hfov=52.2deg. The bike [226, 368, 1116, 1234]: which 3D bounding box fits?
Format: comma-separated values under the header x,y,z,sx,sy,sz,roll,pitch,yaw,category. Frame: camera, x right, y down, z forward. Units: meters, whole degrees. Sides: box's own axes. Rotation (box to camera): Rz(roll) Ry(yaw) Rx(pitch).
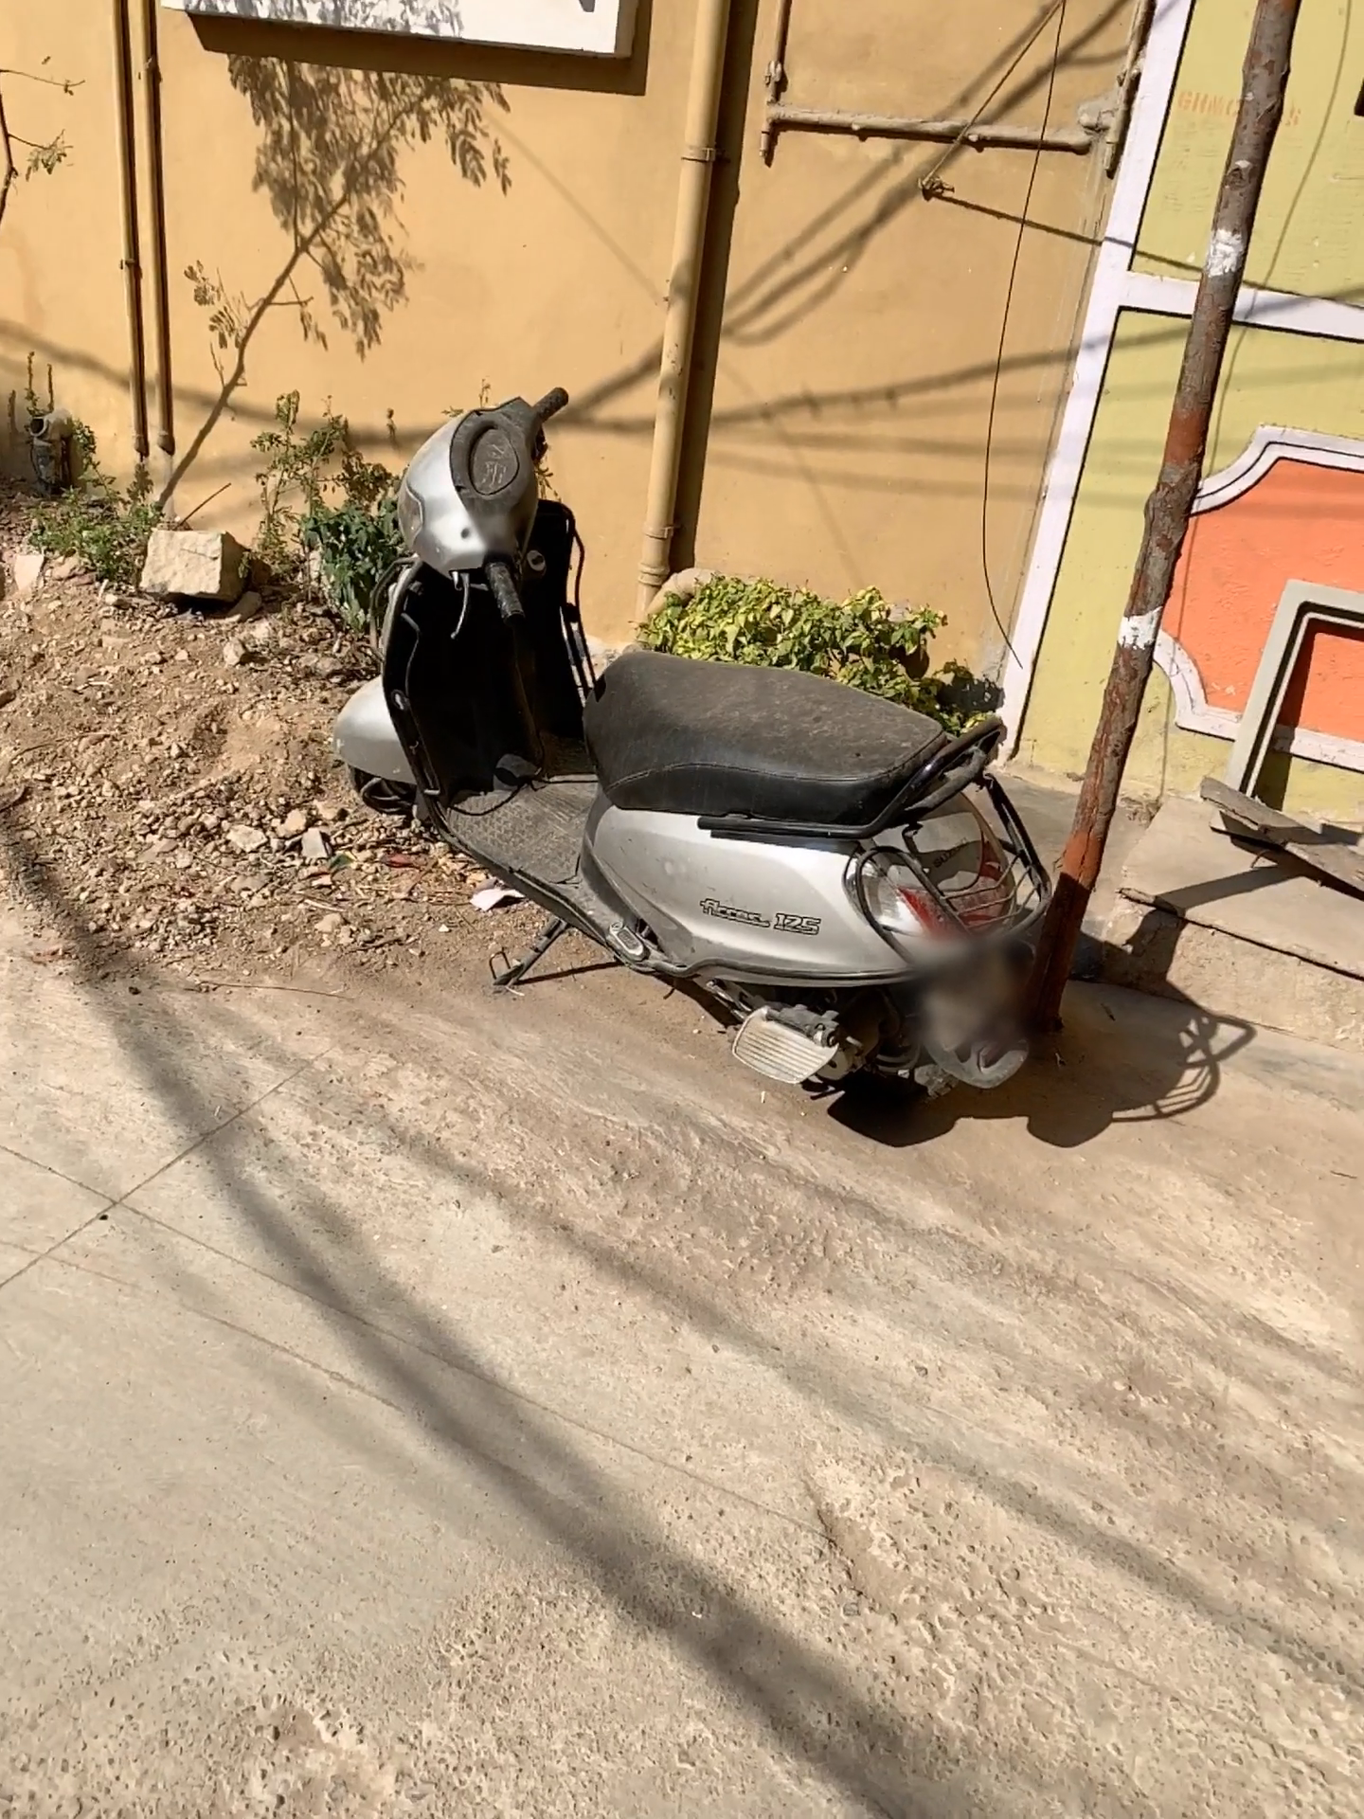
x,y,z,sx,sy,sz,roll,pitch,yaw,category
-0.148,-0.320,2.489,1.511,1.001,0.551,27,33,35,bike
